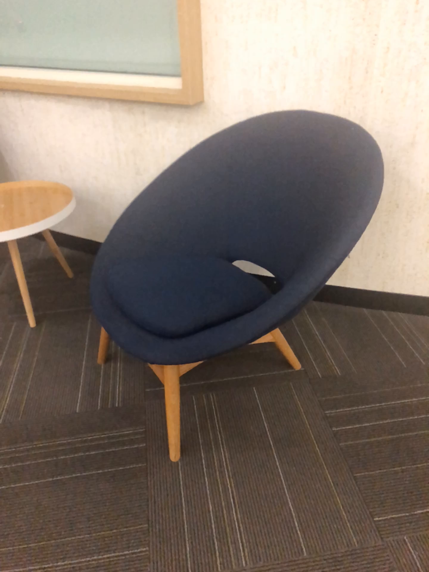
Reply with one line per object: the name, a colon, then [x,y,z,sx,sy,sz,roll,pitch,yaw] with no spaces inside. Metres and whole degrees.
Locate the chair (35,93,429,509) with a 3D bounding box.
chair: [0.033,-0.095,1.687,1.003,0.992,0.894,-12,32,-27]
